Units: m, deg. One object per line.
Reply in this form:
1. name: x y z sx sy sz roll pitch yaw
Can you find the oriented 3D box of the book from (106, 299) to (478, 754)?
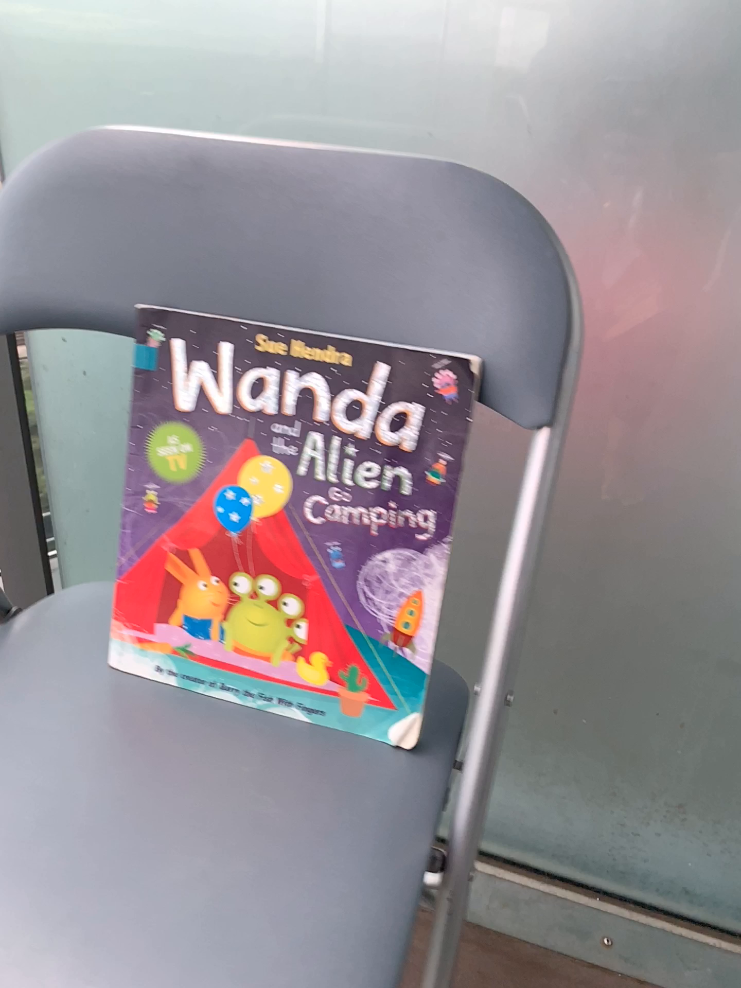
1. book: -0.065 0.021 0.518 0.230 0.268 0.030 12 16 13
